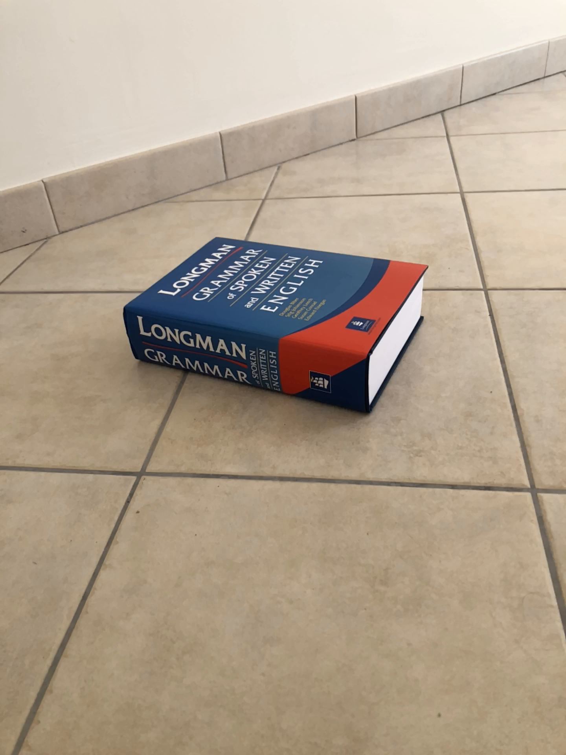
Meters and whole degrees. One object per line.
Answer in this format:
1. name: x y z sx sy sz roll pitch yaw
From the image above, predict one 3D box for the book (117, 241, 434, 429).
1. book: -0.001 -0.057 0.611 0.250 0.060 0.178 13 40 24
